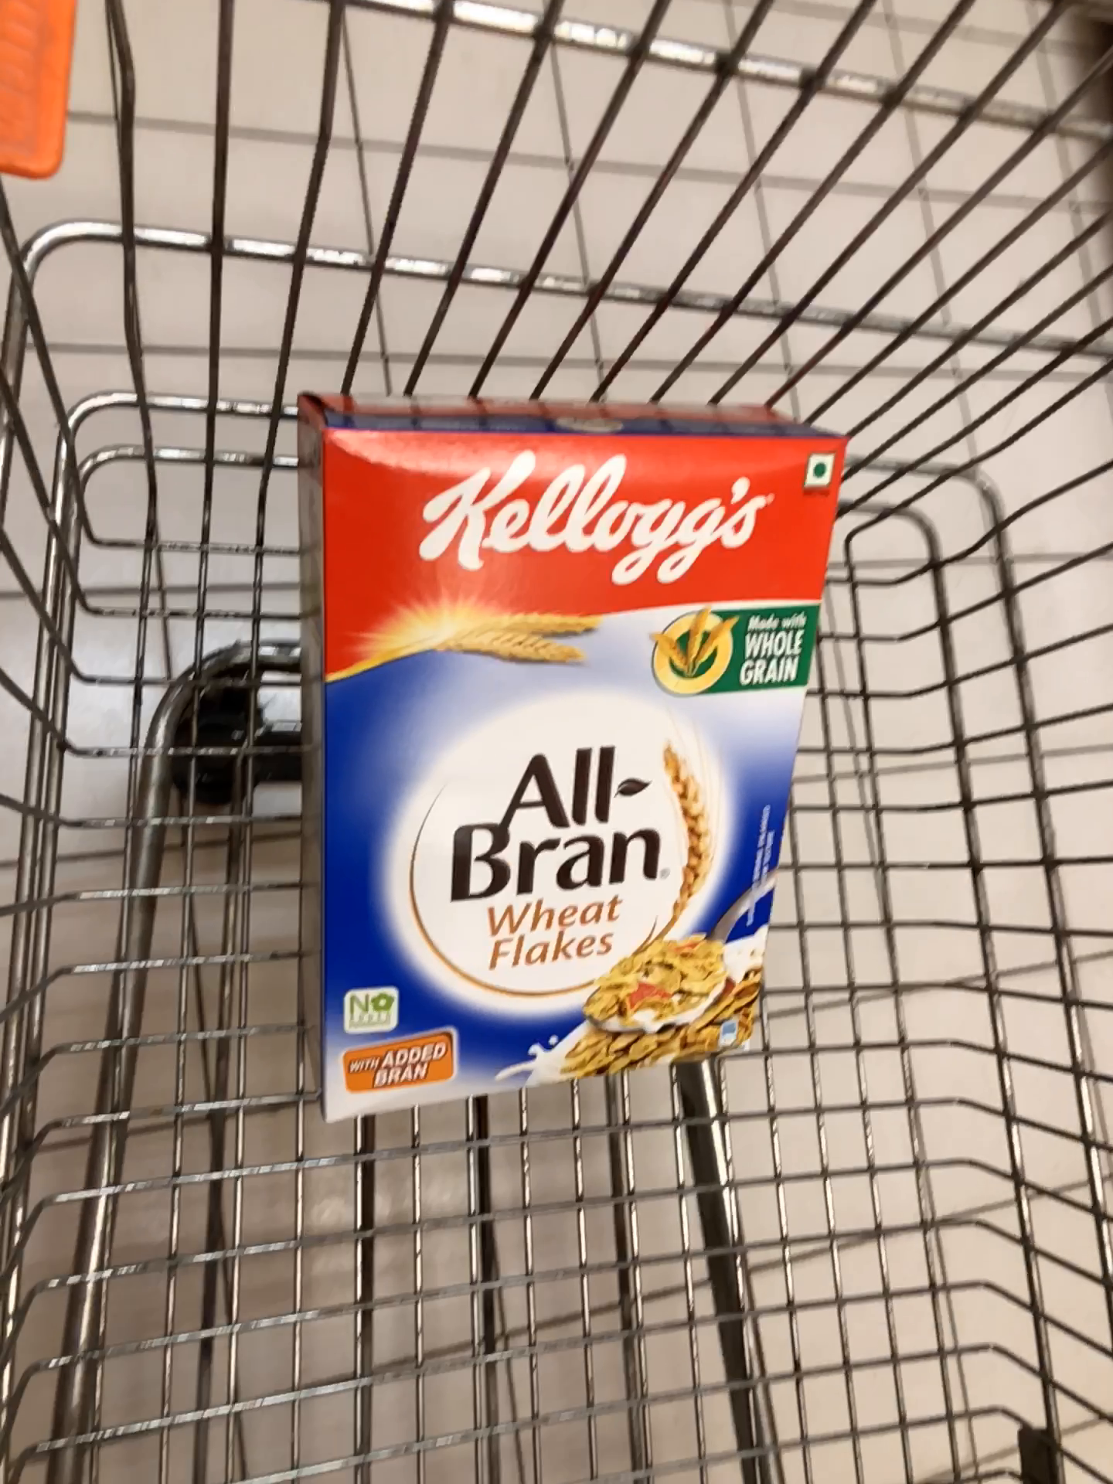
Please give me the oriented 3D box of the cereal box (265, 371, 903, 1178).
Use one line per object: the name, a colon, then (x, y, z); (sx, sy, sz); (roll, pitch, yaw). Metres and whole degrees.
cereal box: (-0.004, 0.013, 0.452); (0.190, 0.080, 0.269); (-4, 117, -20)
